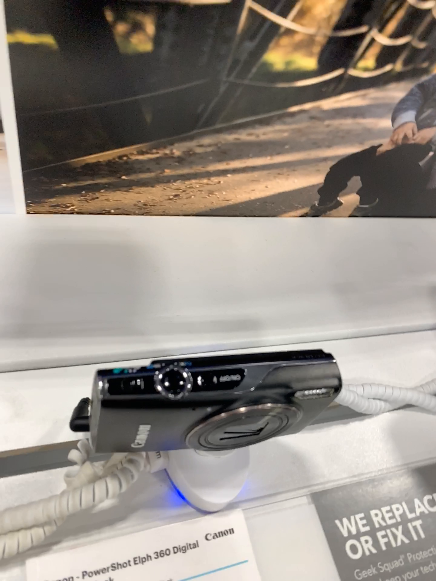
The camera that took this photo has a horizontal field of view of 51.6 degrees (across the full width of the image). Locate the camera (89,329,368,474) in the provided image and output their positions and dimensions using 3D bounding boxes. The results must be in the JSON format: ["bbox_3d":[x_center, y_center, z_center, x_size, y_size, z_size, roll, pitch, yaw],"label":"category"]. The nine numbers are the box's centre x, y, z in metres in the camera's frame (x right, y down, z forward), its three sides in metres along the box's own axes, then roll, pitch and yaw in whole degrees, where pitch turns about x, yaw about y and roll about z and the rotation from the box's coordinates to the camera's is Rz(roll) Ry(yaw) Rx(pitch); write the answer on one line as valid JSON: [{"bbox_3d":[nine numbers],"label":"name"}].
[{"bbox_3d":[0.002,0.047,0.194,0.106,0.055,0.027,-2,52,-21],"label":"camera"}]
